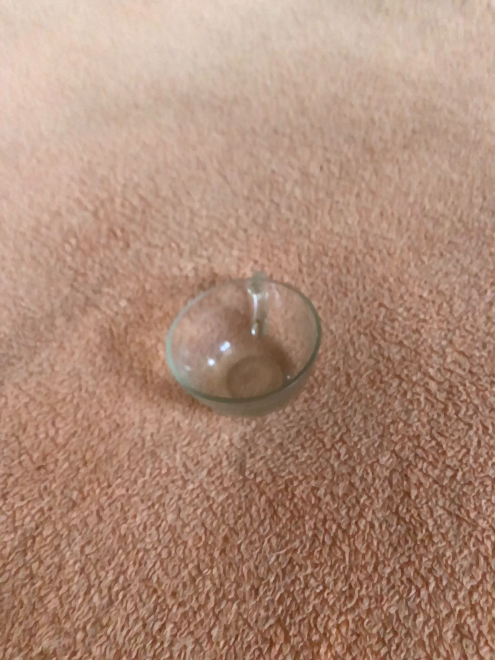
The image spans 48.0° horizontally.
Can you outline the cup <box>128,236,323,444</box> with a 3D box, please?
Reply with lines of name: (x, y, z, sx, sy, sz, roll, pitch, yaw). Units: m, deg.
cup: (-0.005, 0.003, 0.304, 0.090, 0.040, 0.111, -1, 51, 8)
